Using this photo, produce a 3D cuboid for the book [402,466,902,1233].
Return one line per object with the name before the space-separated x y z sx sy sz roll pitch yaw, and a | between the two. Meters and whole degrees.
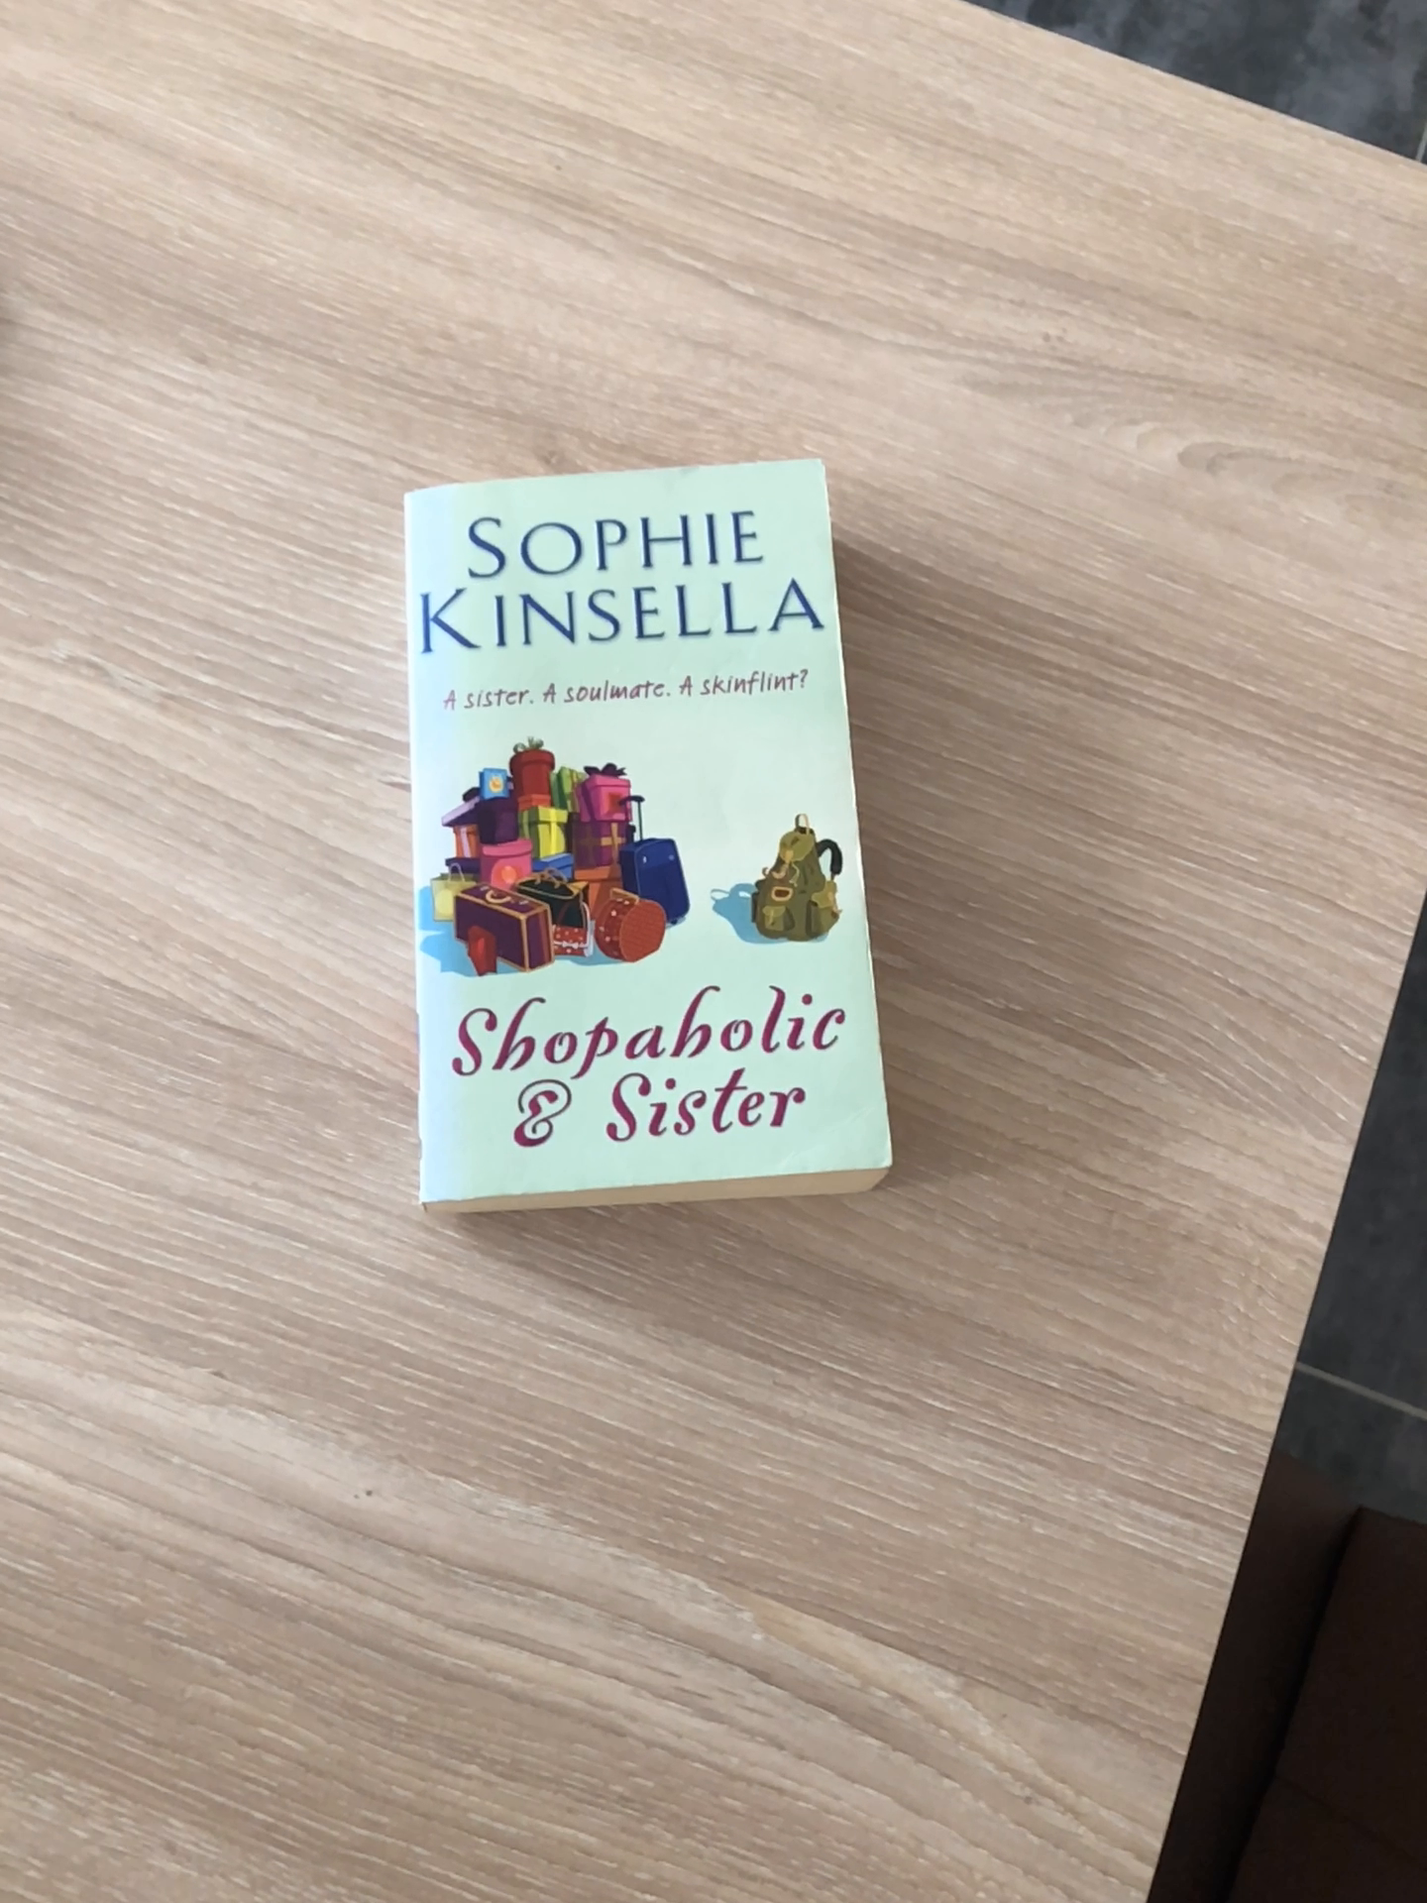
book | -0.018 -0.027 0.383 0.107 0.032 0.180 -3 75 -3
